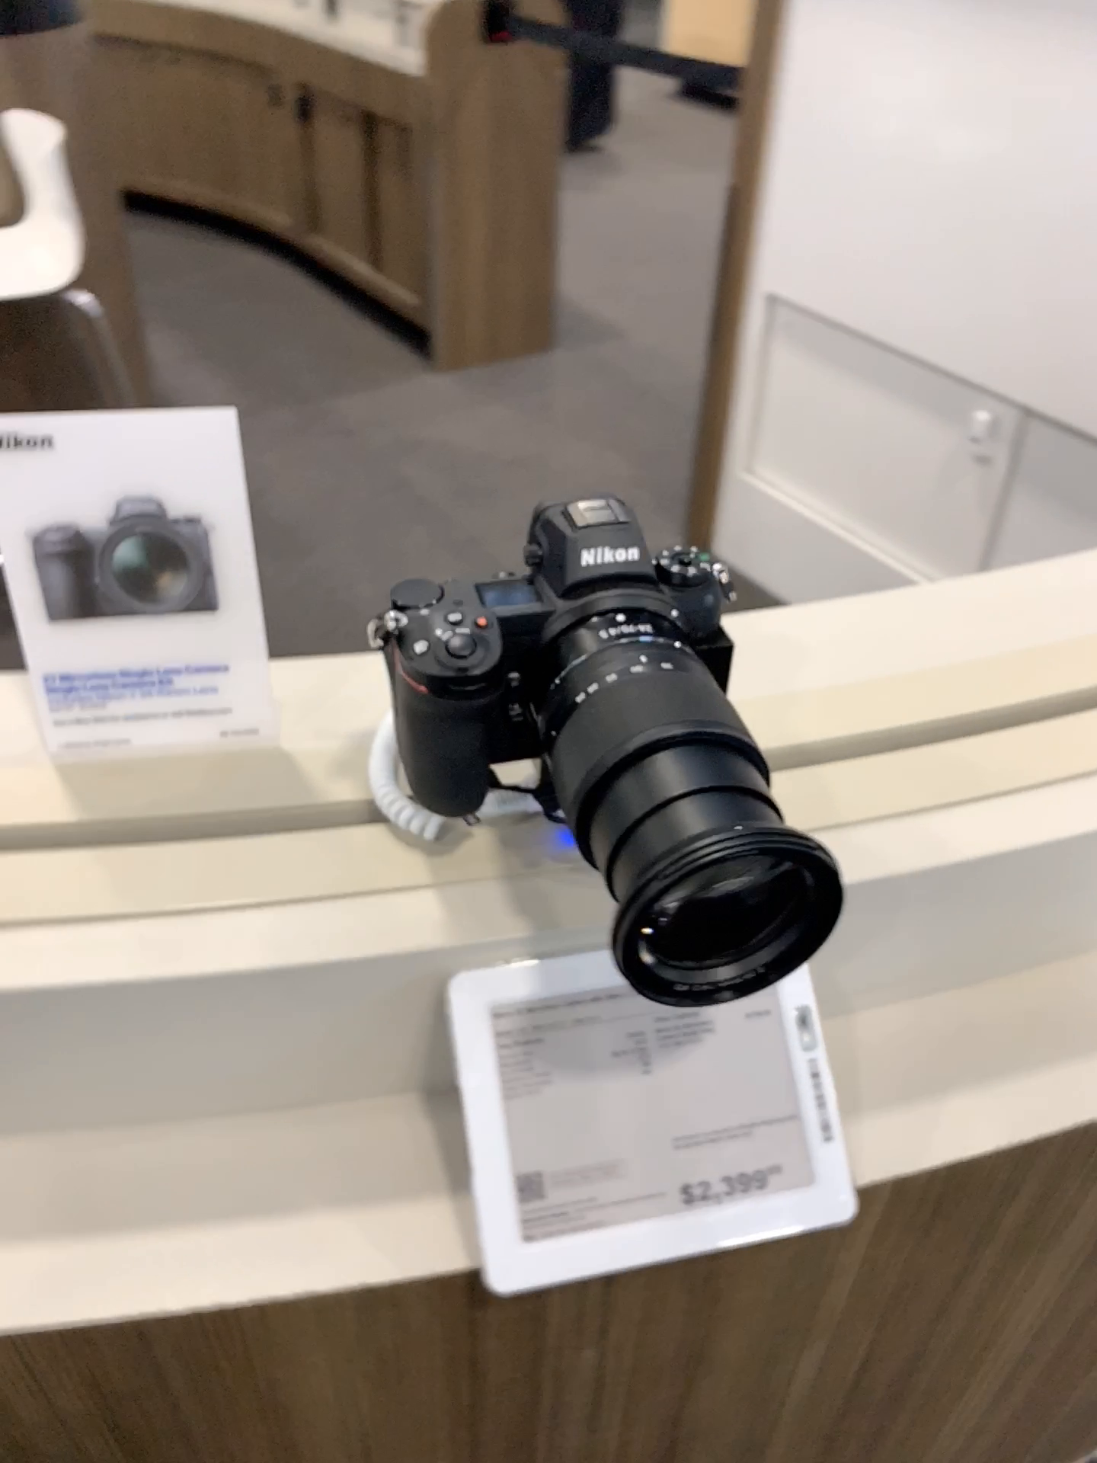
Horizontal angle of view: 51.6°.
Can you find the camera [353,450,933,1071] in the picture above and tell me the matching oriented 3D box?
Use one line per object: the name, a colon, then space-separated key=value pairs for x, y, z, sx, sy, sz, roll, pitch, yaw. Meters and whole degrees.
camera: x=0.015 y=-0.006 z=0.420 sx=0.140 sy=0.099 sz=0.211 roll=-8 pitch=40 yaw=-12
